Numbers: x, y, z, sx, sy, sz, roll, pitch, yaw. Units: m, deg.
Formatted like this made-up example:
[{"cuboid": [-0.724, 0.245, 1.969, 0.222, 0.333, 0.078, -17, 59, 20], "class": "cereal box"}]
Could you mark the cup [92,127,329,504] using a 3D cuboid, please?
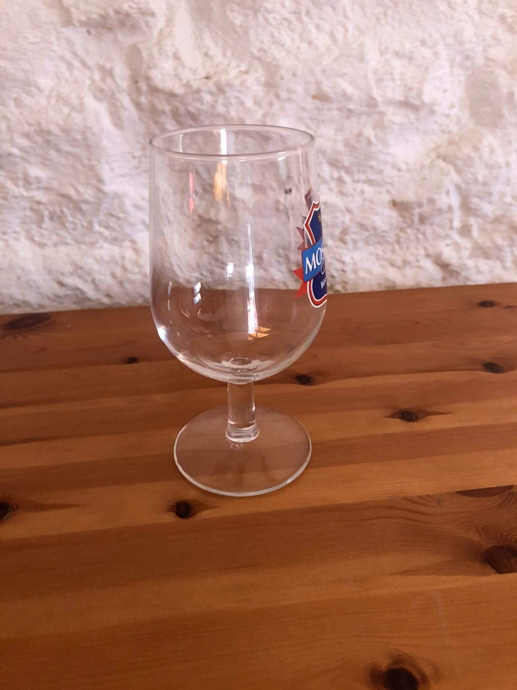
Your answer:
[{"cuboid": [-0.011, -0.015, 0.251, 0.077, 0.142, 0.079, -1, 27, 0], "class": "cup"}]
